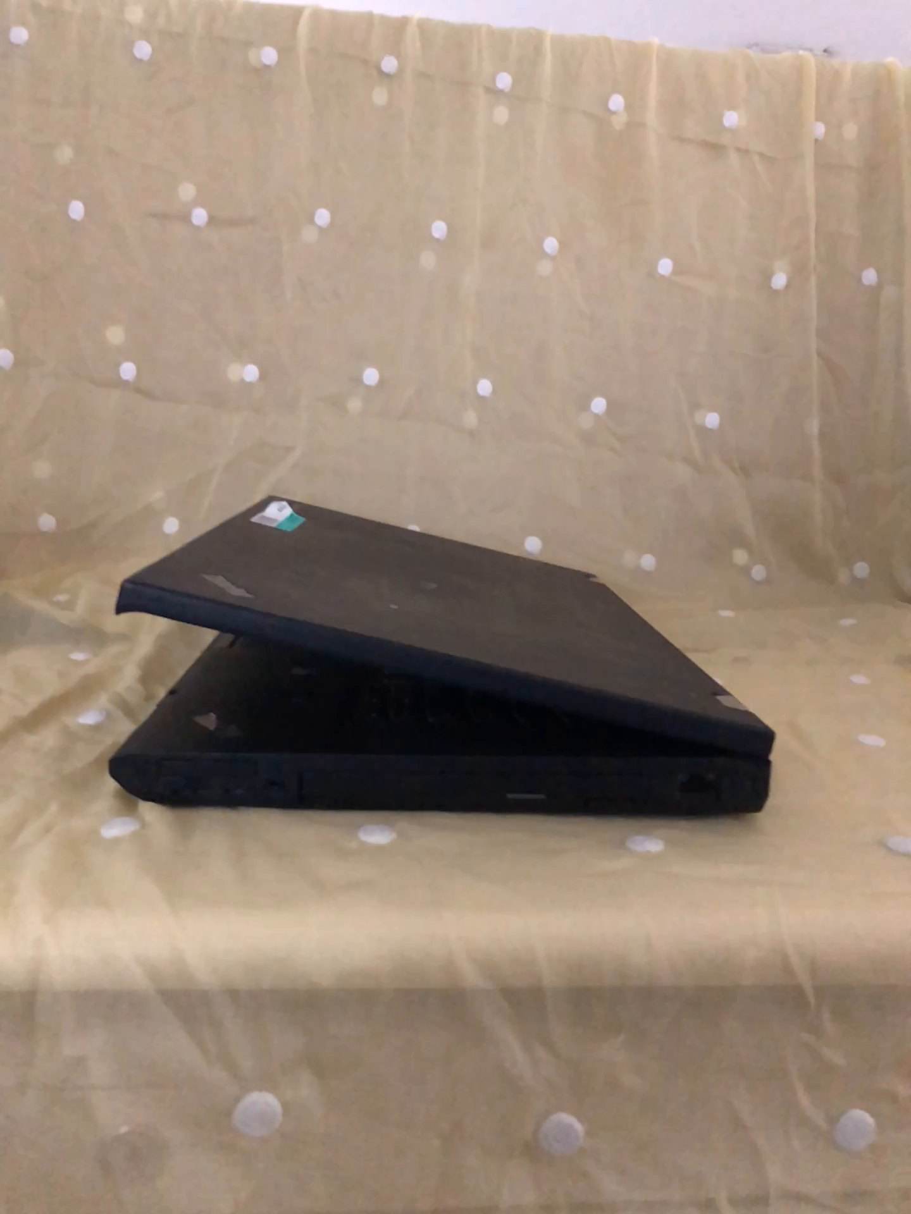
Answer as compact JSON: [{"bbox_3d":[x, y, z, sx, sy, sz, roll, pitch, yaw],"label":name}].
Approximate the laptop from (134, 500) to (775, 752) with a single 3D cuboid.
[{"bbox_3d":[-0.009,-0.012,0.531,0.225,0.050,0.357,0,12,-1],"label":"laptop"}]
